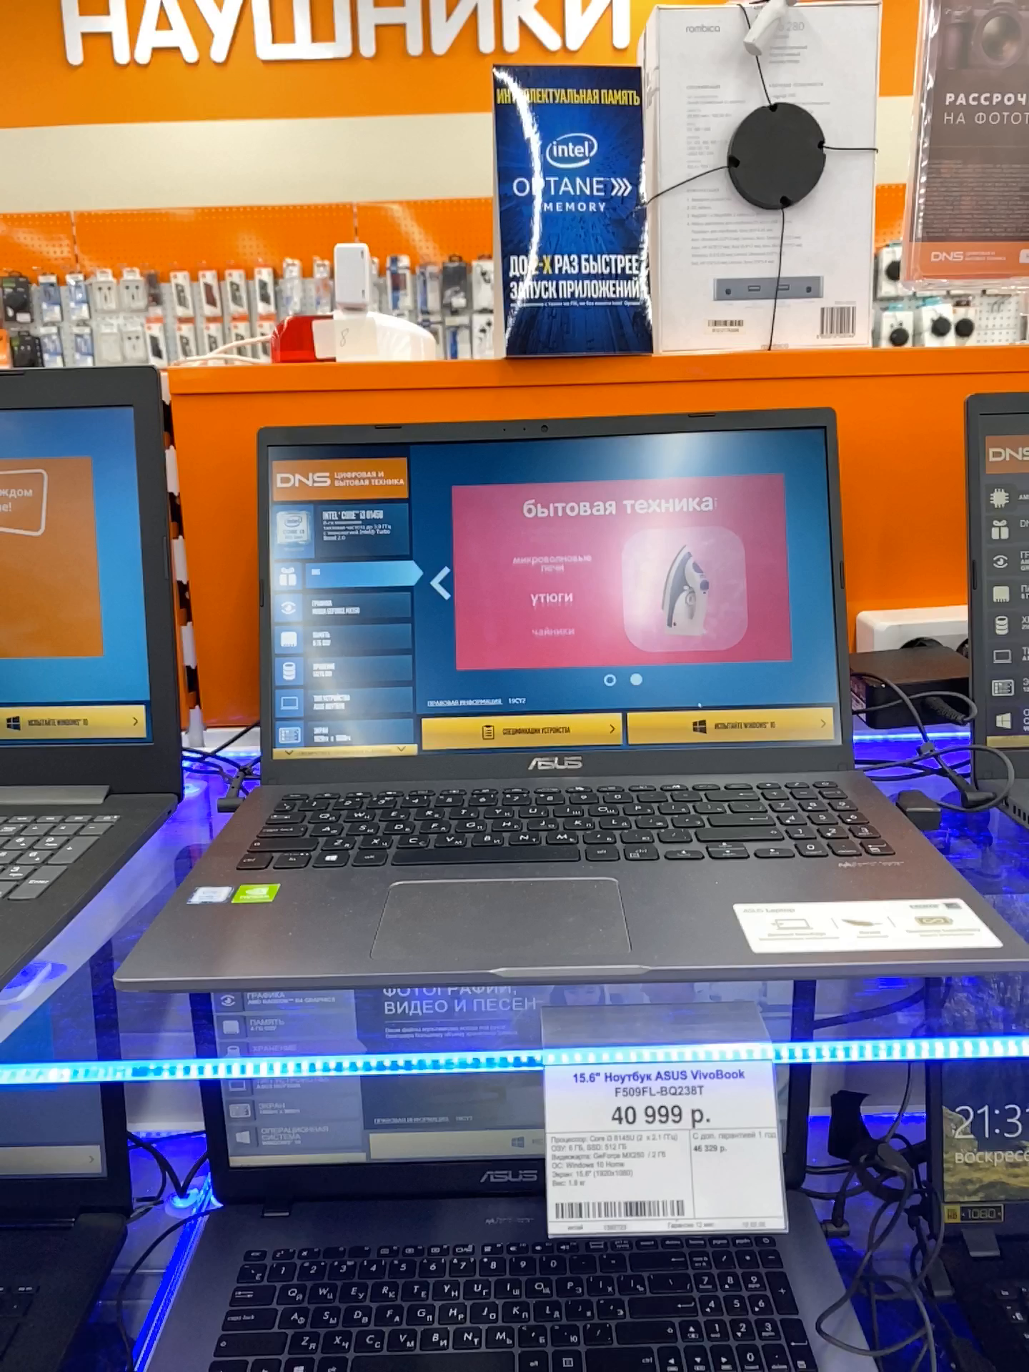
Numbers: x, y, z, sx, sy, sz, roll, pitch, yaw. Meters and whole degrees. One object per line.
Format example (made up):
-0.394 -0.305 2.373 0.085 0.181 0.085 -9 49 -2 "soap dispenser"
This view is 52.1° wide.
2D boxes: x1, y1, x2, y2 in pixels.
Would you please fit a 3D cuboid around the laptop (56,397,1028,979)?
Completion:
0.023 -0.029 0.535 0.357 0.211 0.307 -1 13 1 "laptop"
